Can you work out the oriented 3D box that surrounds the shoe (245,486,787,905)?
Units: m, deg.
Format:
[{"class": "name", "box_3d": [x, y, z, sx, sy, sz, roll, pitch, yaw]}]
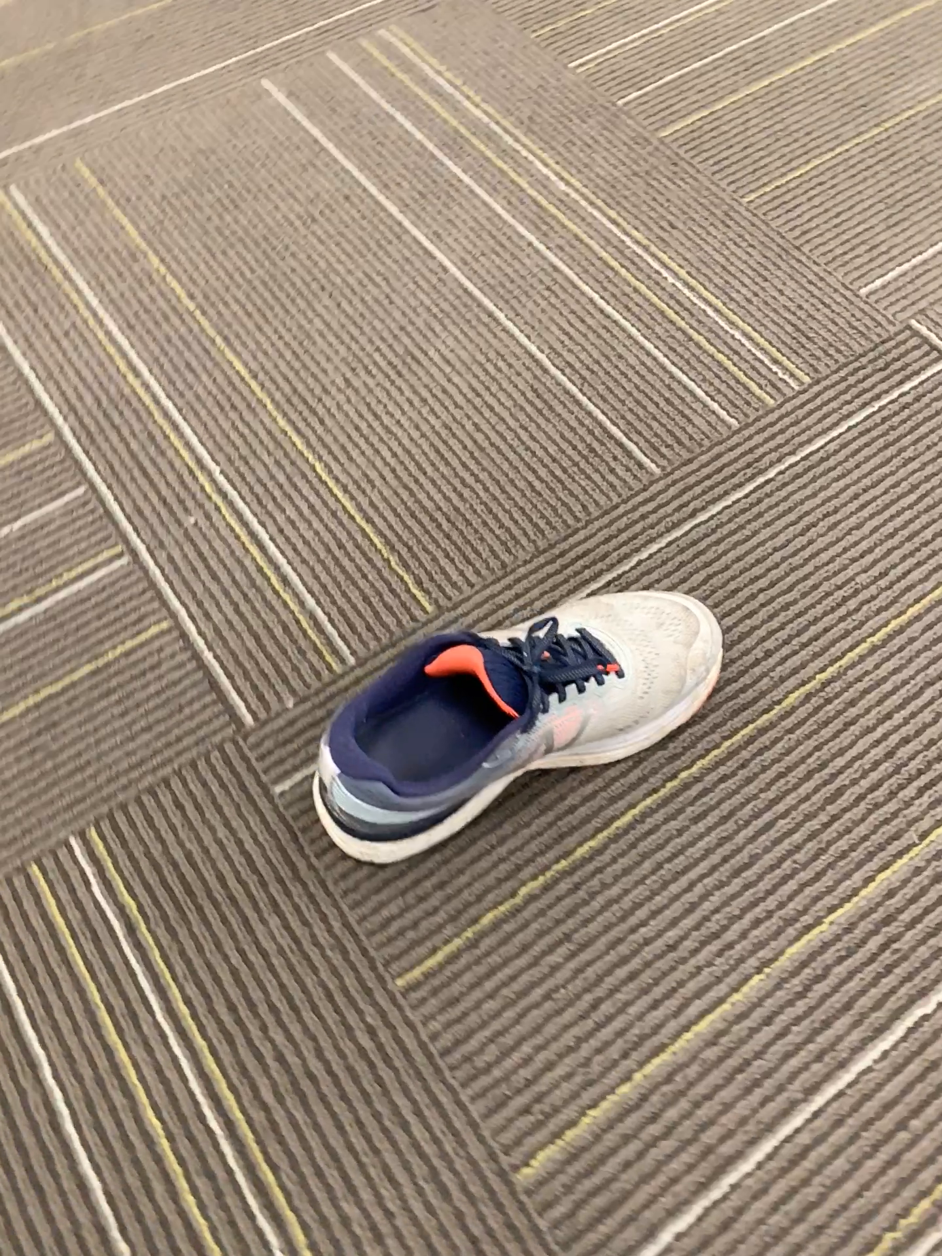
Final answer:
[{"class": "shoe", "box_3d": [0.027, 0.037, 0.600, 0.290, 0.080, 0.130, -24, 62, -12]}]
